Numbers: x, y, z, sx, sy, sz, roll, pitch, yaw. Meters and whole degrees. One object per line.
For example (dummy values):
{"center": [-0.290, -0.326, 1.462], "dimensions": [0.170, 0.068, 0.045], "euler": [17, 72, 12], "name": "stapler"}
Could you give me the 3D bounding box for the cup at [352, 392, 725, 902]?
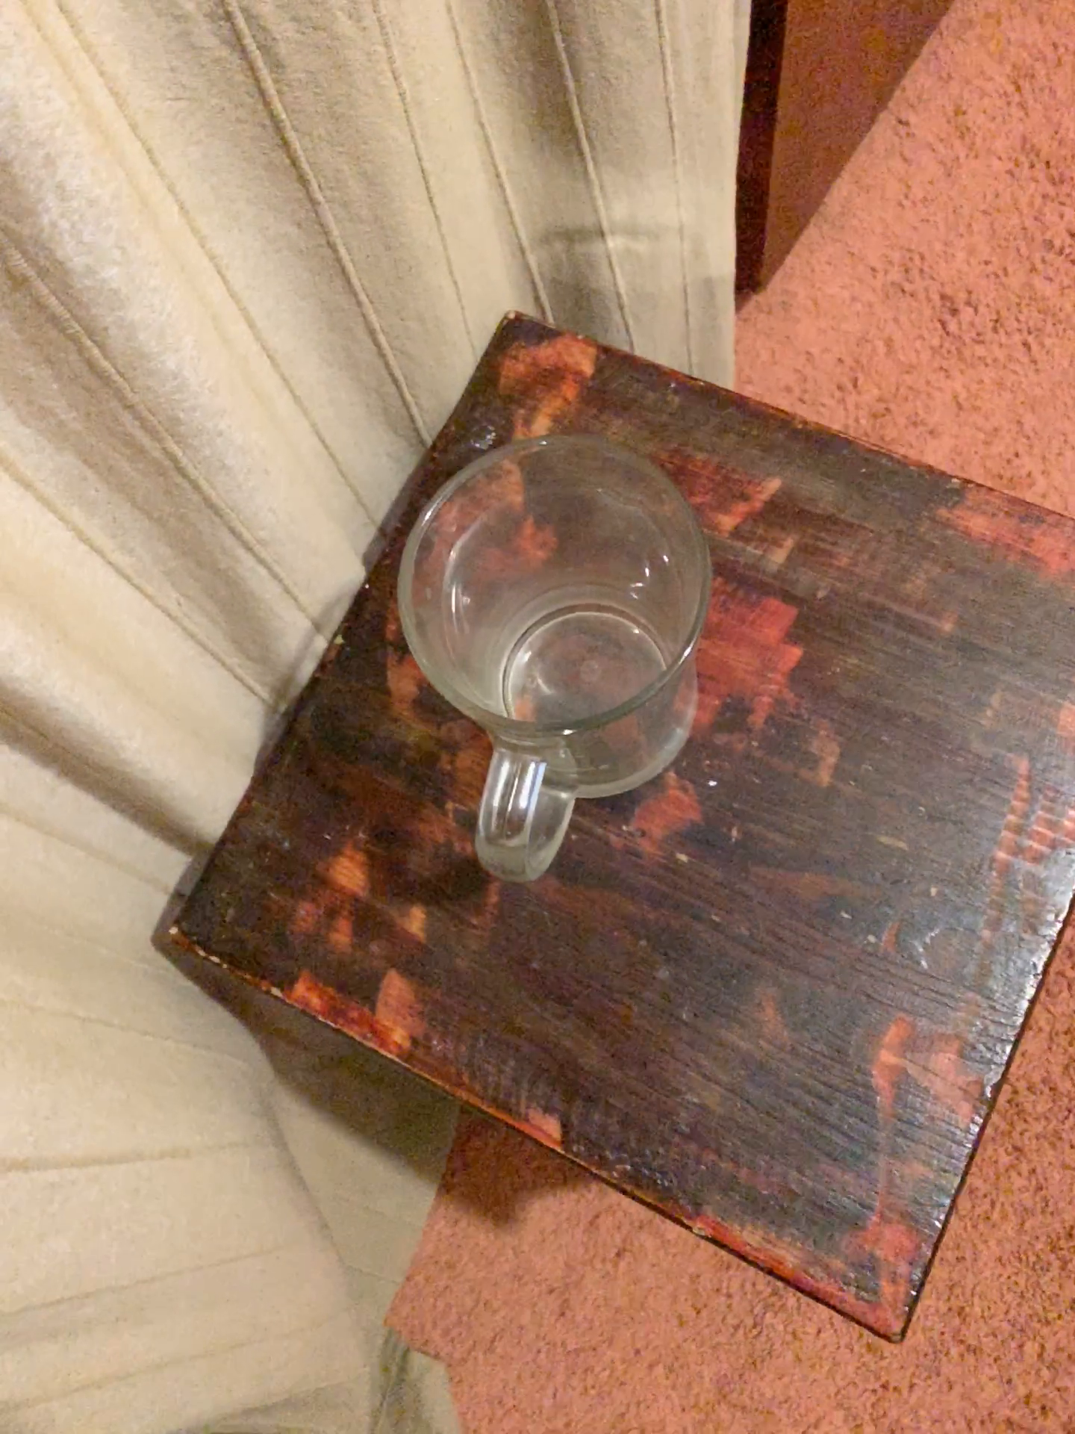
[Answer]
{"center": [0.011, -0.017, 0.404], "dimensions": [0.100, 0.136, 0.143], "euler": [4, 74, 9], "name": "cup"}
